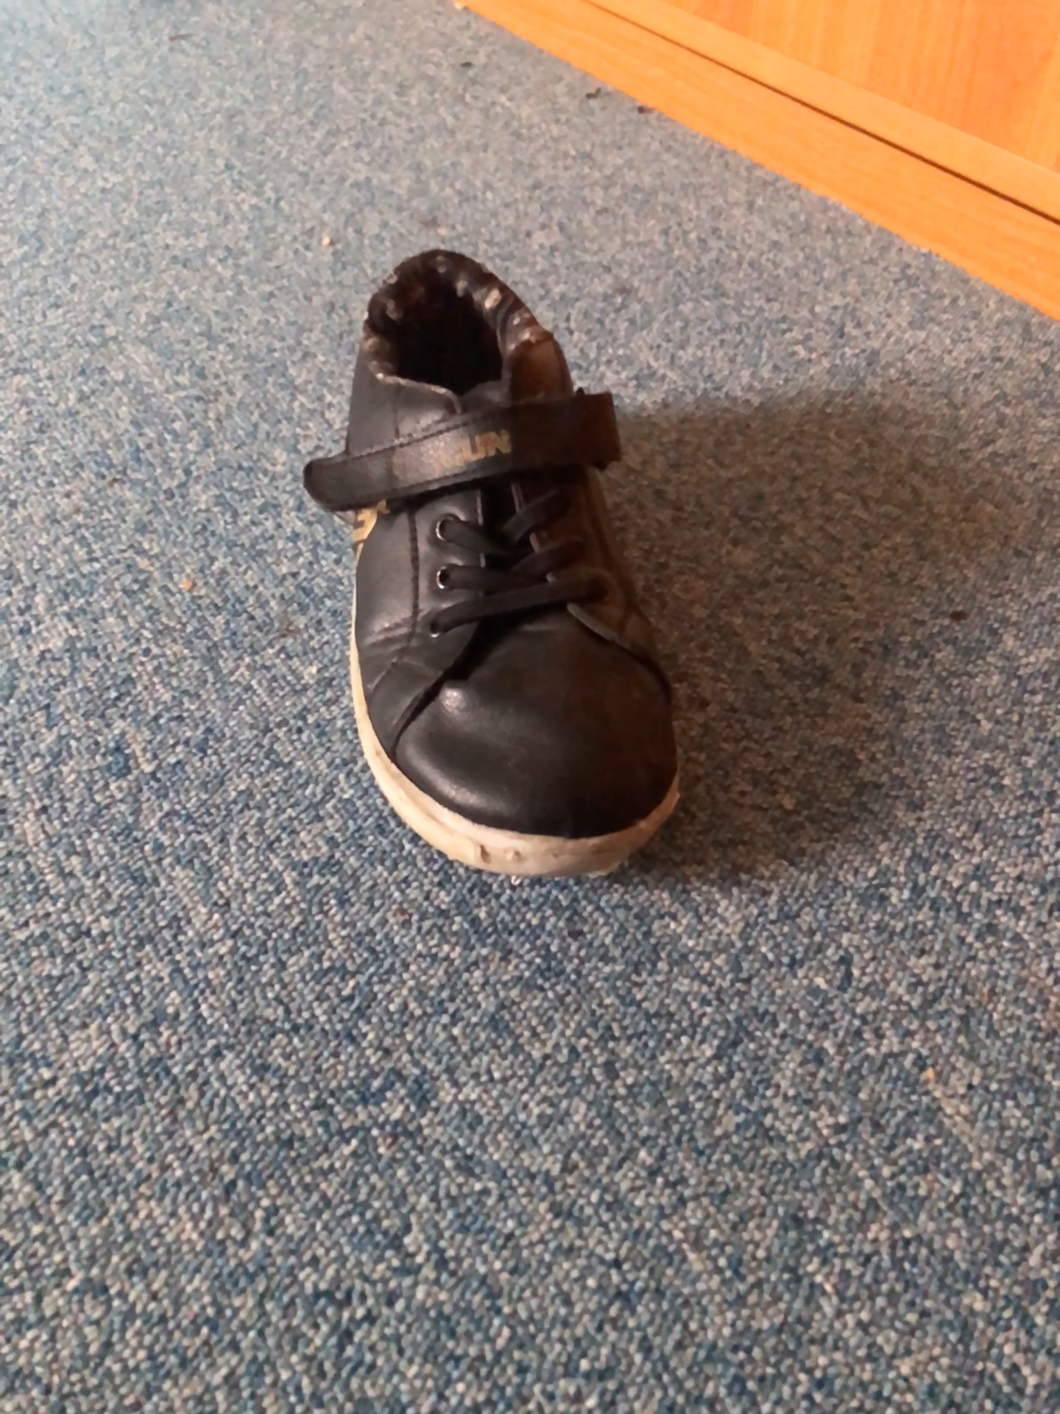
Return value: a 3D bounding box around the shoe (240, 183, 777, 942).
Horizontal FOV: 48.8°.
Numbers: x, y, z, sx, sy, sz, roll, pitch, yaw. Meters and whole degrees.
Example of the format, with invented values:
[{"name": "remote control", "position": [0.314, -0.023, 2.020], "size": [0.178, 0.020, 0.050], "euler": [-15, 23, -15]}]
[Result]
[{"name": "shoe", "position": [-0.020, -0.060, 0.348], "size": [0.110, 0.090, 0.231], "euler": [-6, 47, -6]}]
